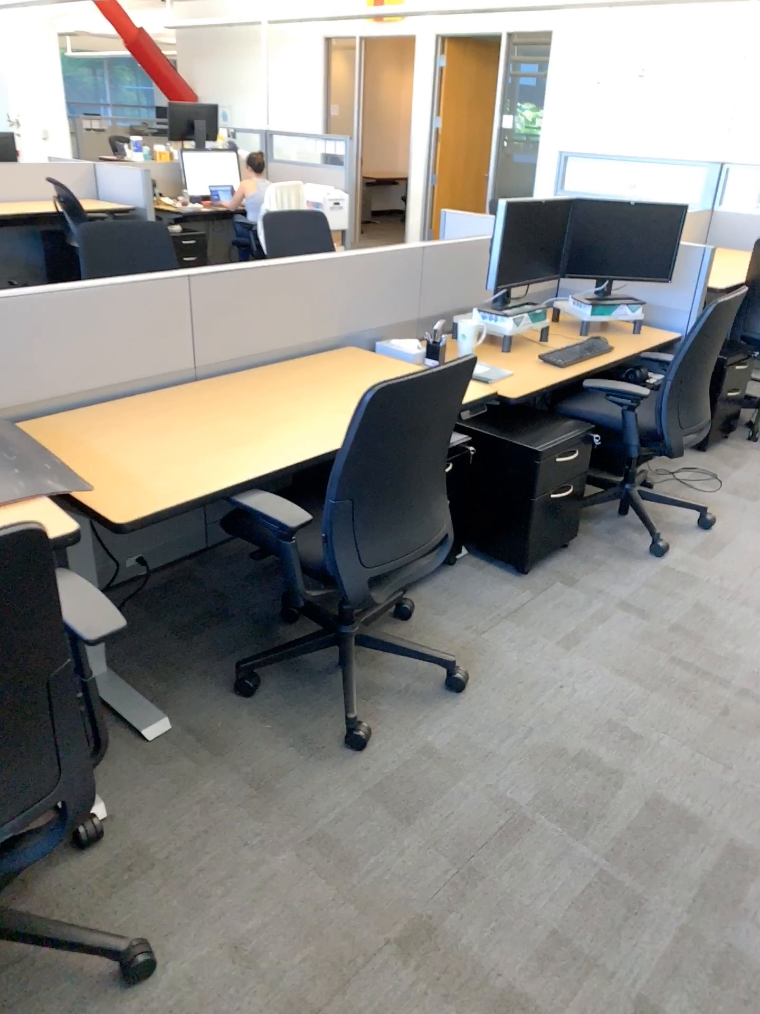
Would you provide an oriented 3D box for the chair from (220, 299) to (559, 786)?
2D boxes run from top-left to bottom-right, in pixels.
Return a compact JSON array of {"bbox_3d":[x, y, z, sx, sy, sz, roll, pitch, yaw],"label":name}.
[{"bbox_3d":[-0.003,0.051,1.992,0.582,0.994,0.521,25,34,36],"label":"chair"}]

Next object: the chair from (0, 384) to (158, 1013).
[{"bbox_3d":[-0.793,0.406,1.257,0.560,0.994,0.603,-17,33,-35],"label":"chair"}]

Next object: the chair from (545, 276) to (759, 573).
[{"bbox_3d":[1.078,-0.350,3.087,0.462,0.994,0.541,25,34,37],"label":"chair"}]

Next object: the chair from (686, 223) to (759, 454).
[{"bbox_3d":[2.213,-0.934,4.129,0.633,0.994,0.761,25,34,37],"label":"chair"}]
